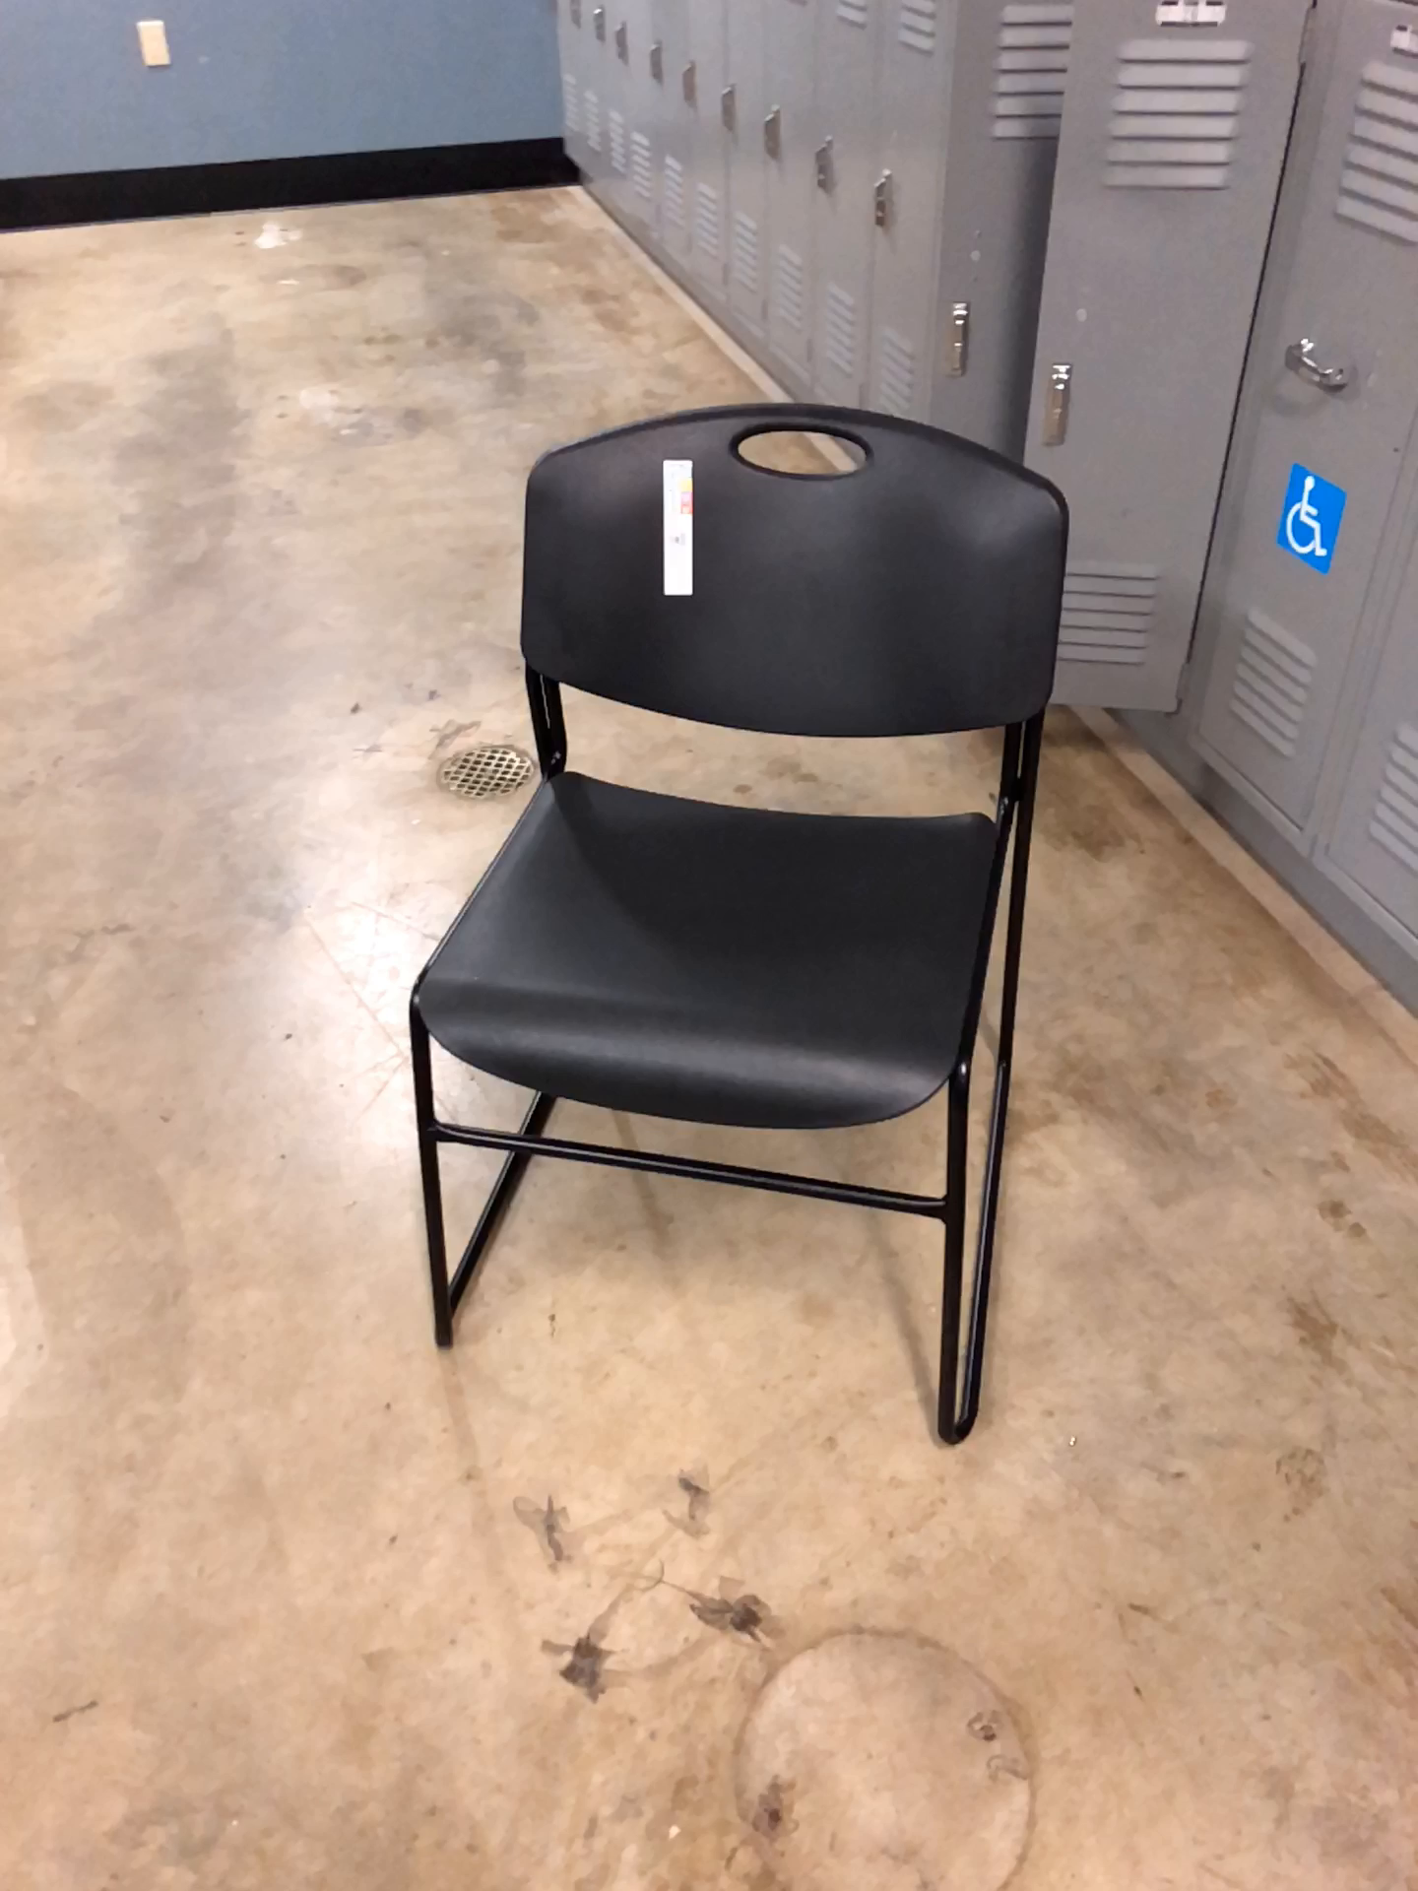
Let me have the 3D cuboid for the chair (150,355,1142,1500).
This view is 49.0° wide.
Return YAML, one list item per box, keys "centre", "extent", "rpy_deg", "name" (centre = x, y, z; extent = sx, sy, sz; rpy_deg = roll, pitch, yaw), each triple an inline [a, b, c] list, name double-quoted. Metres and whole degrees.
- centre: [0.014, -0.033, 1.257]
  extent: [0.544, 0.665, 0.548]
  rpy_deg: [8, 40, 11]
  name: "chair"
